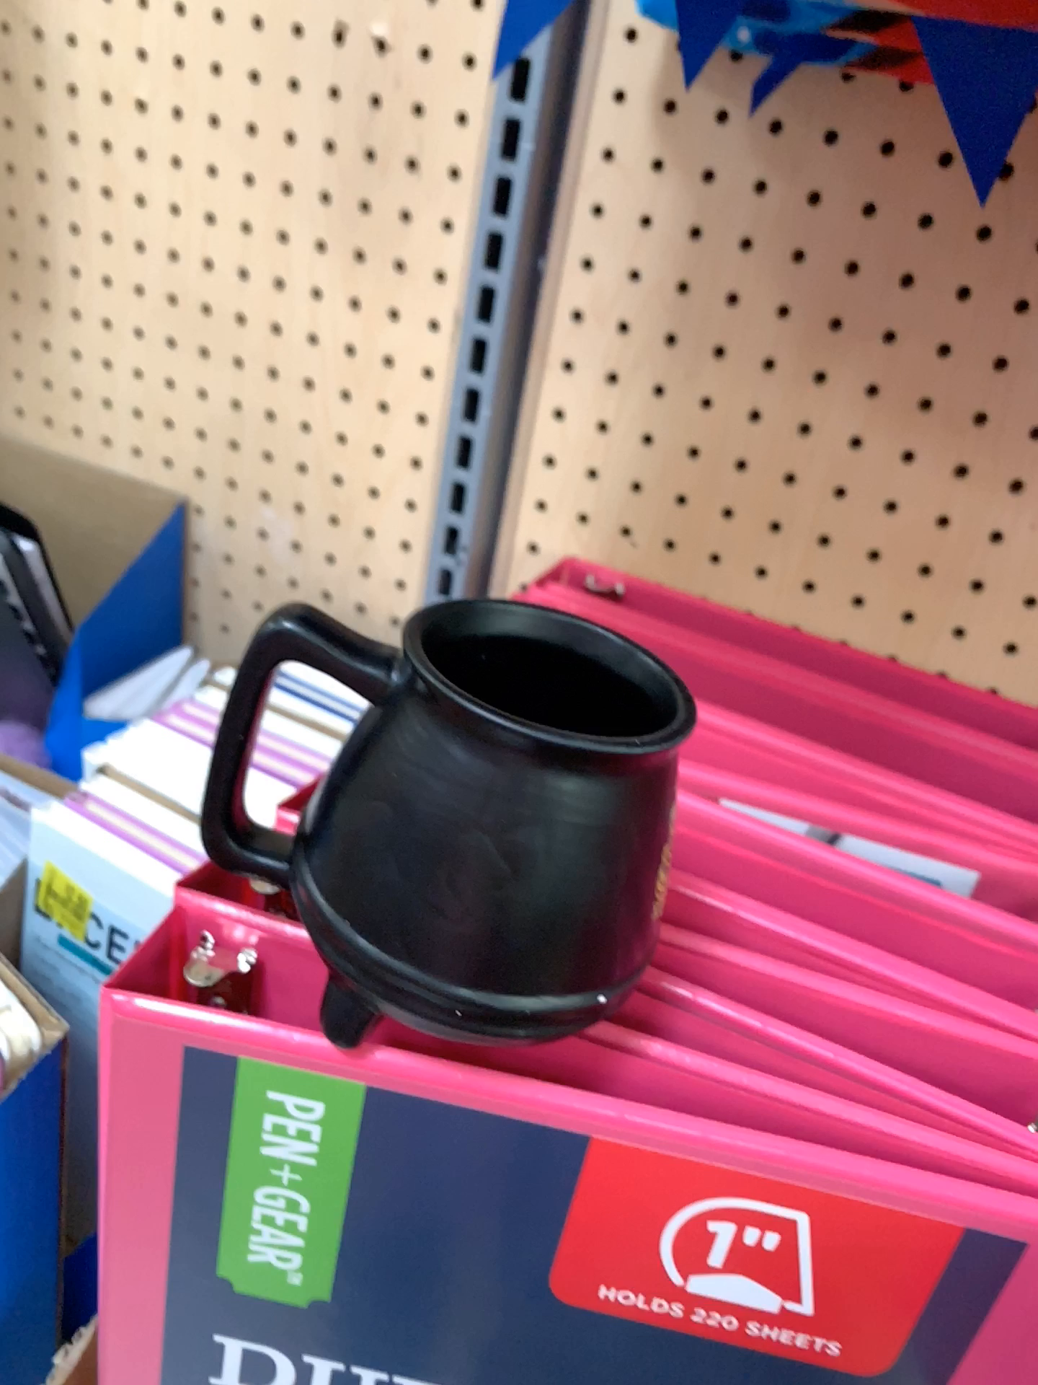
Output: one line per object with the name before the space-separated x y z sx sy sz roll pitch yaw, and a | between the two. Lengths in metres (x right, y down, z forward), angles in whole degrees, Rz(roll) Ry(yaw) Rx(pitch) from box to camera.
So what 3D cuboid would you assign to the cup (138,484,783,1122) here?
cup | -0.012 0.021 0.270 0.122 0.093 0.097 14 28 2
